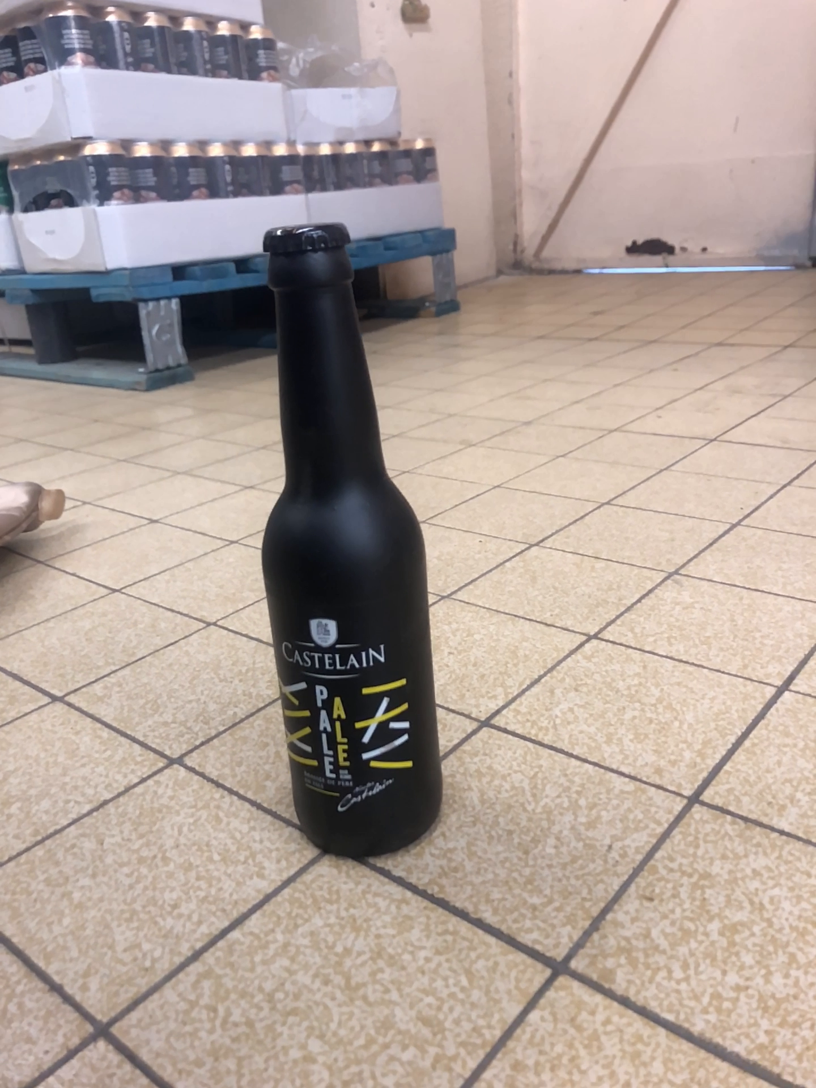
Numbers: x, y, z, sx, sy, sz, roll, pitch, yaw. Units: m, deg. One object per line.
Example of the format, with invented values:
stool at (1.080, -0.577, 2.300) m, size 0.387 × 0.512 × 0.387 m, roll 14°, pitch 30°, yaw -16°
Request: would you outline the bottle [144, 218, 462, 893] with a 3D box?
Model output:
bottle at (-0.025, 0.006, 0.312) m, size 0.070 × 0.219 × 0.070 m, roll -4°, pitch 20°, yaw 1°
